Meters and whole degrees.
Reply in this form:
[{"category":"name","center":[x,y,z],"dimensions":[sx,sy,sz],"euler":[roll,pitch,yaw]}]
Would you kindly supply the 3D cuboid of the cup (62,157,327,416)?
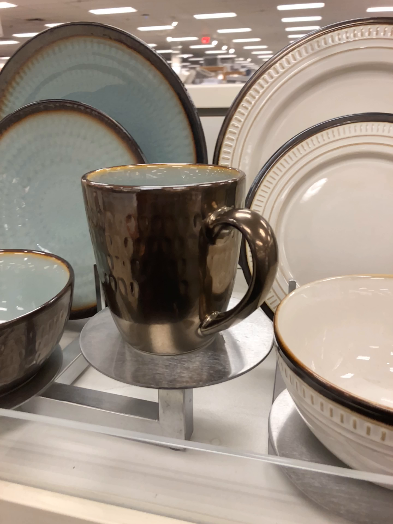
[{"category":"cup","center":[-0.003,0.000,0.251],"dimensions":[0.117,0.100,0.083],"euler":[17,28,39]}]
